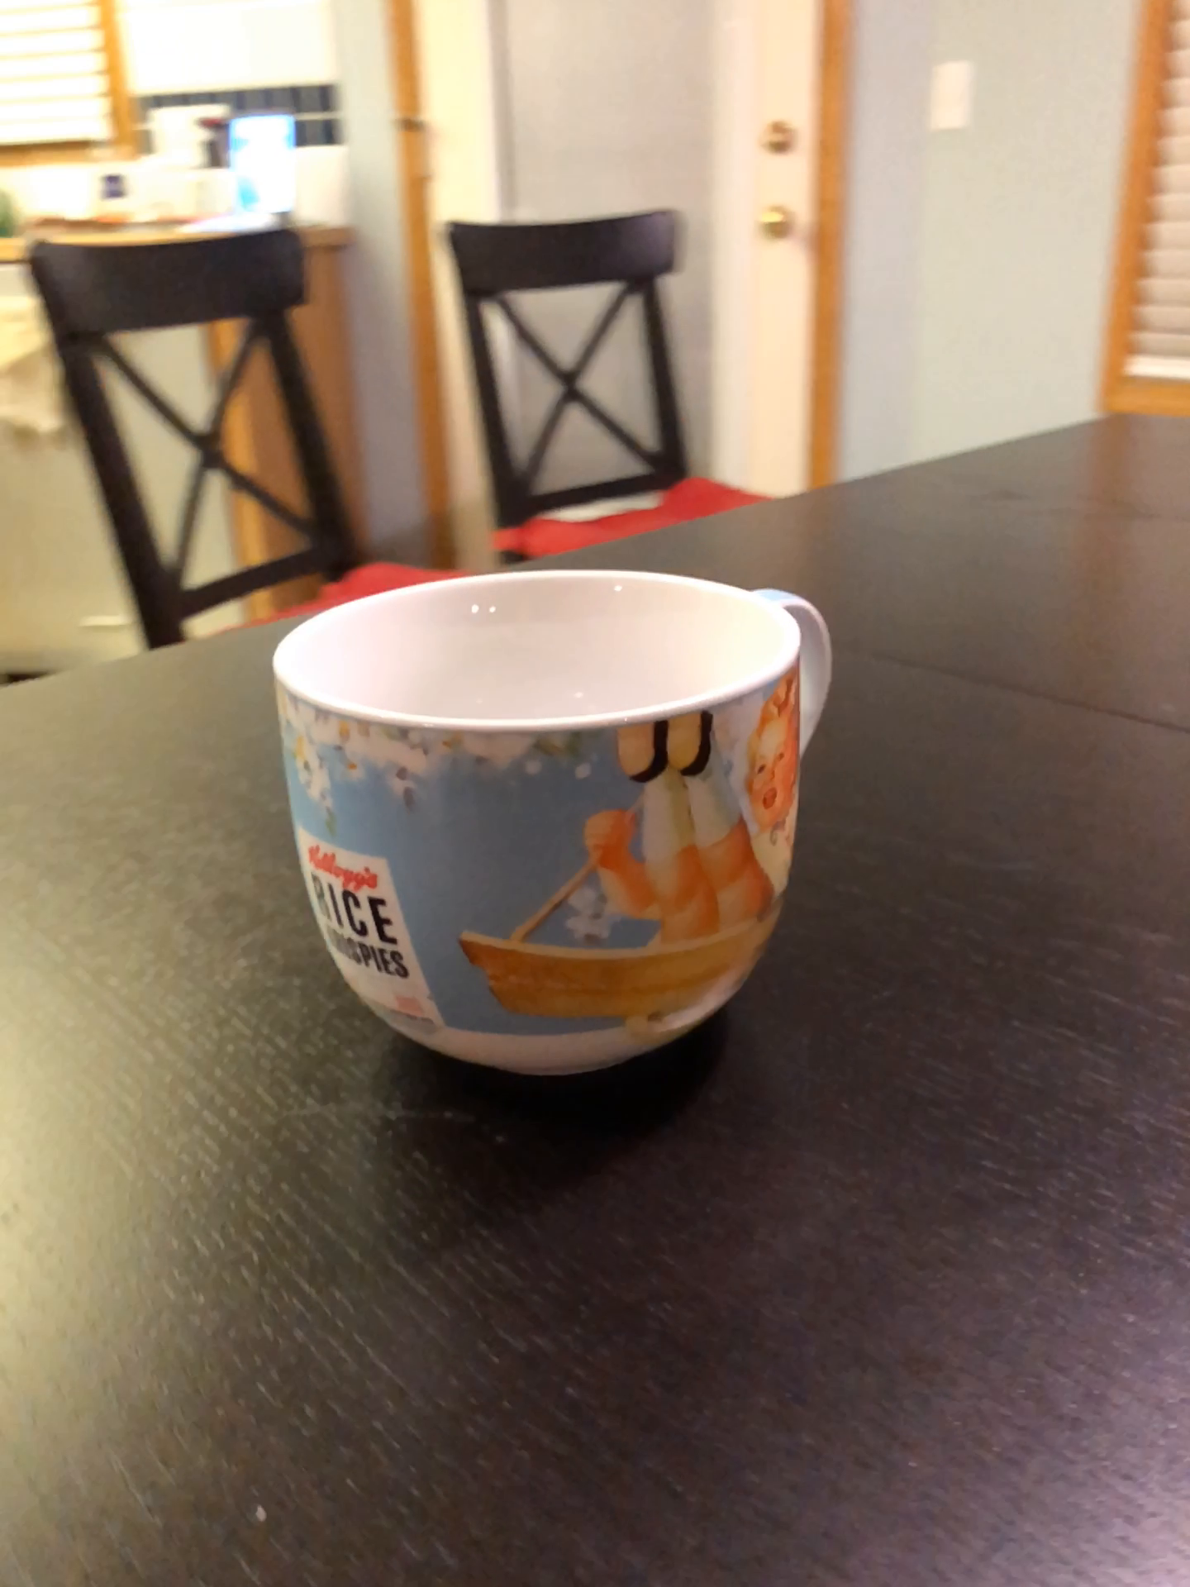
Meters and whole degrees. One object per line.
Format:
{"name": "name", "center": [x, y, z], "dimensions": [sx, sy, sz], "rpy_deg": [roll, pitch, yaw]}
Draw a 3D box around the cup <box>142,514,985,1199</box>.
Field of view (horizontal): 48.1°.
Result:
{"name": "cup", "center": [-0.005, -0.003, 0.321], "dimensions": [0.150, 0.090, 0.120], "rpy_deg": [-20, 29, -37]}
